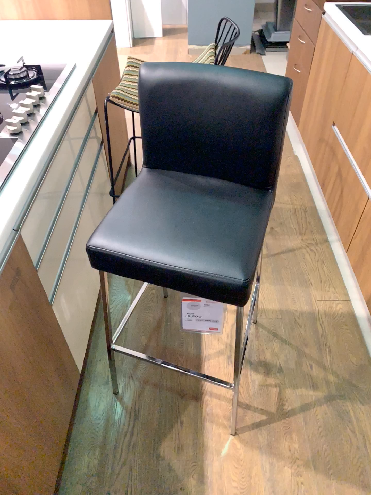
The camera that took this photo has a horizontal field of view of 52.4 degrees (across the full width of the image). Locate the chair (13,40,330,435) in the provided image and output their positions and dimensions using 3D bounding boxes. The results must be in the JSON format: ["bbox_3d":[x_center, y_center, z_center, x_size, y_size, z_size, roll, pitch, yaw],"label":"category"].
[{"bbox_3d":[0.020,0.035,1.150,0.500,1.026,0.522,15,47,15],"label":"chair"}]
